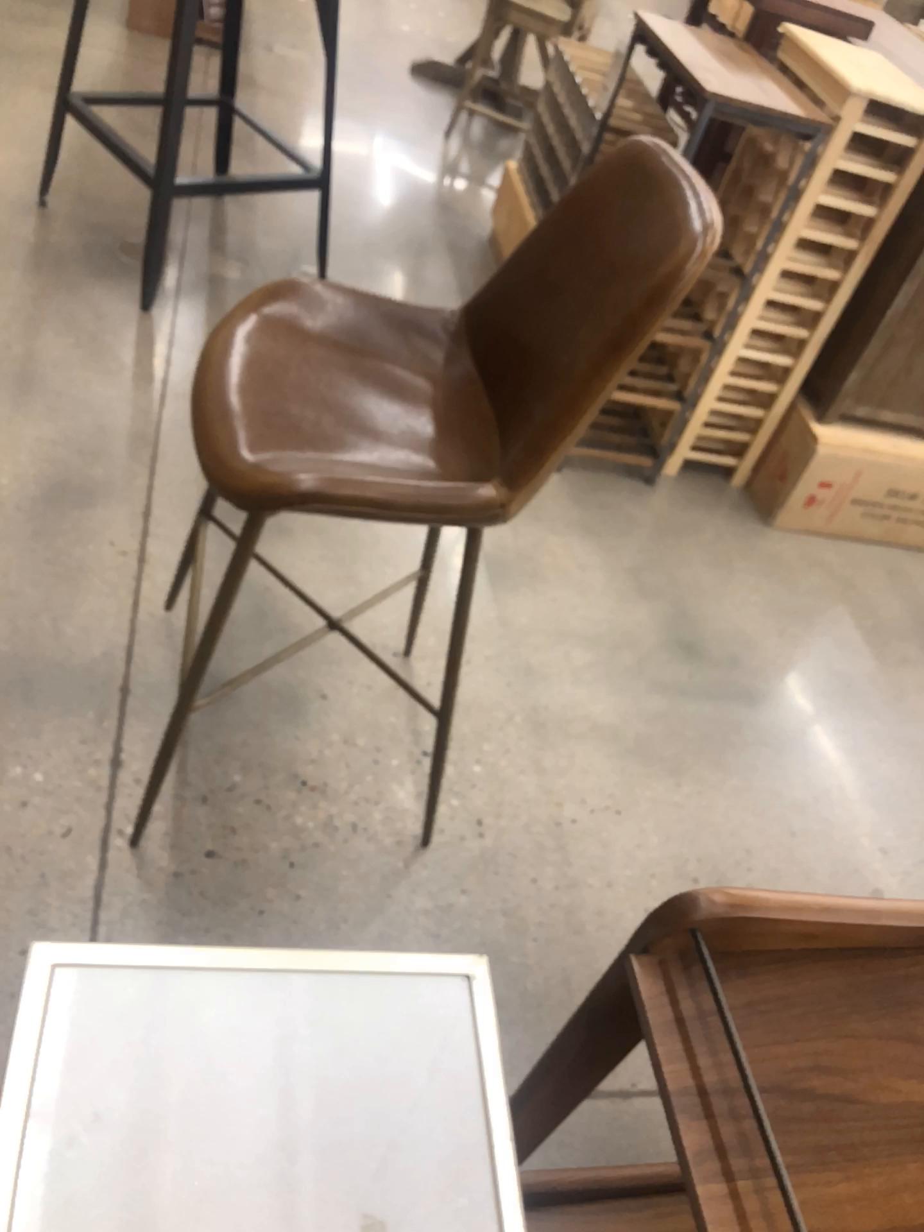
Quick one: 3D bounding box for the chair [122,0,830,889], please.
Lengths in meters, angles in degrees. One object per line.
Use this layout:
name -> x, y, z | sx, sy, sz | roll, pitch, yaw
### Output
chair -> -0.102, -0.174, 1.491 | 0.611, 1.055, 0.605 | 8, 42, -15
